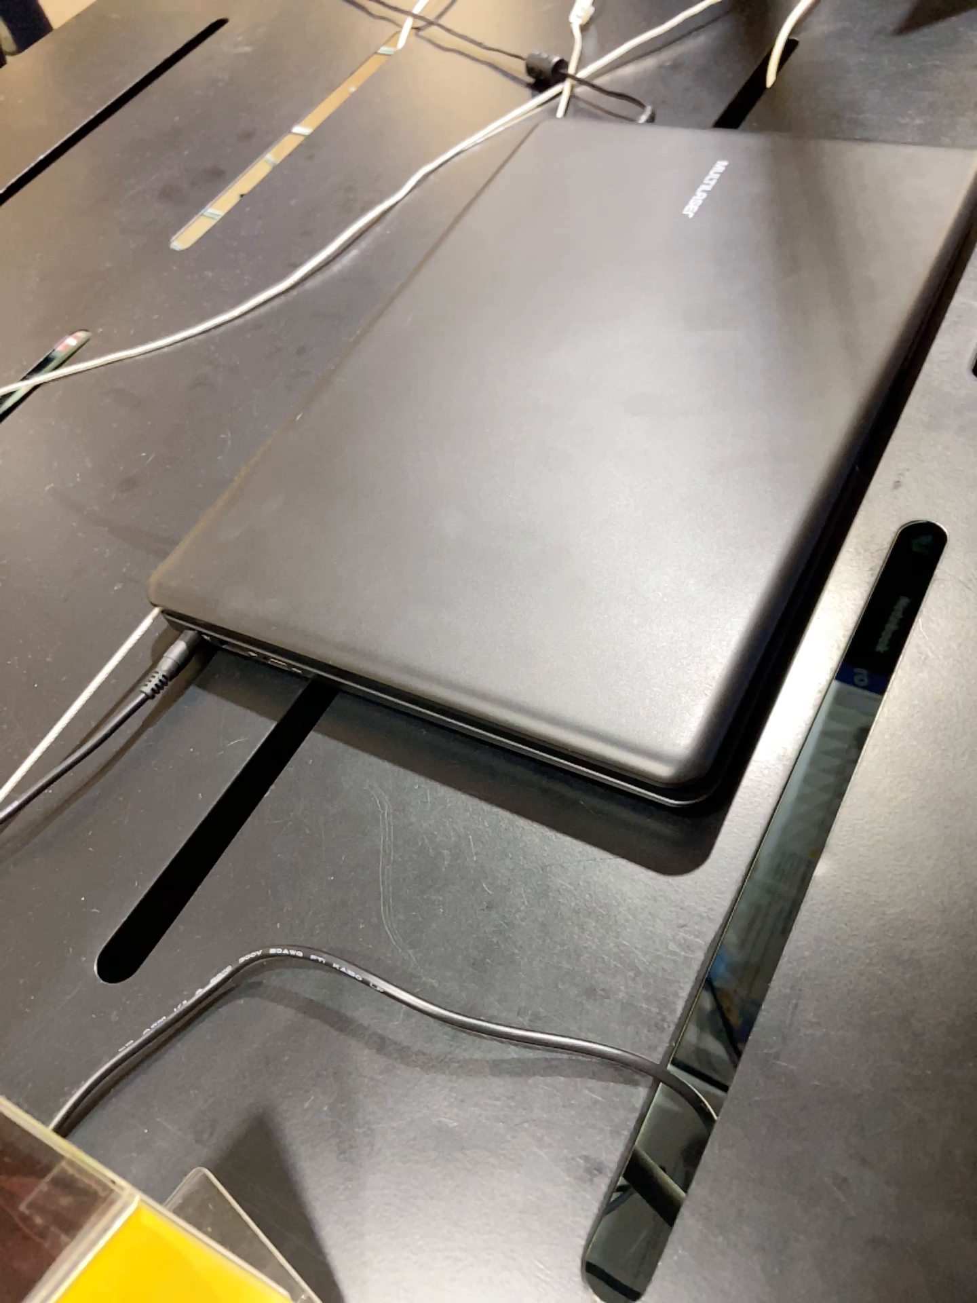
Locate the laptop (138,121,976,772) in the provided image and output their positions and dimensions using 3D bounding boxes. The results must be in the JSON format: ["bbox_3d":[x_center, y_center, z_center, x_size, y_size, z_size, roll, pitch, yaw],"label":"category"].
[{"bbox_3d":[0.042,-0.118,0.389,0.211,0.001,0.325,17,59,26],"label":"laptop"}]
